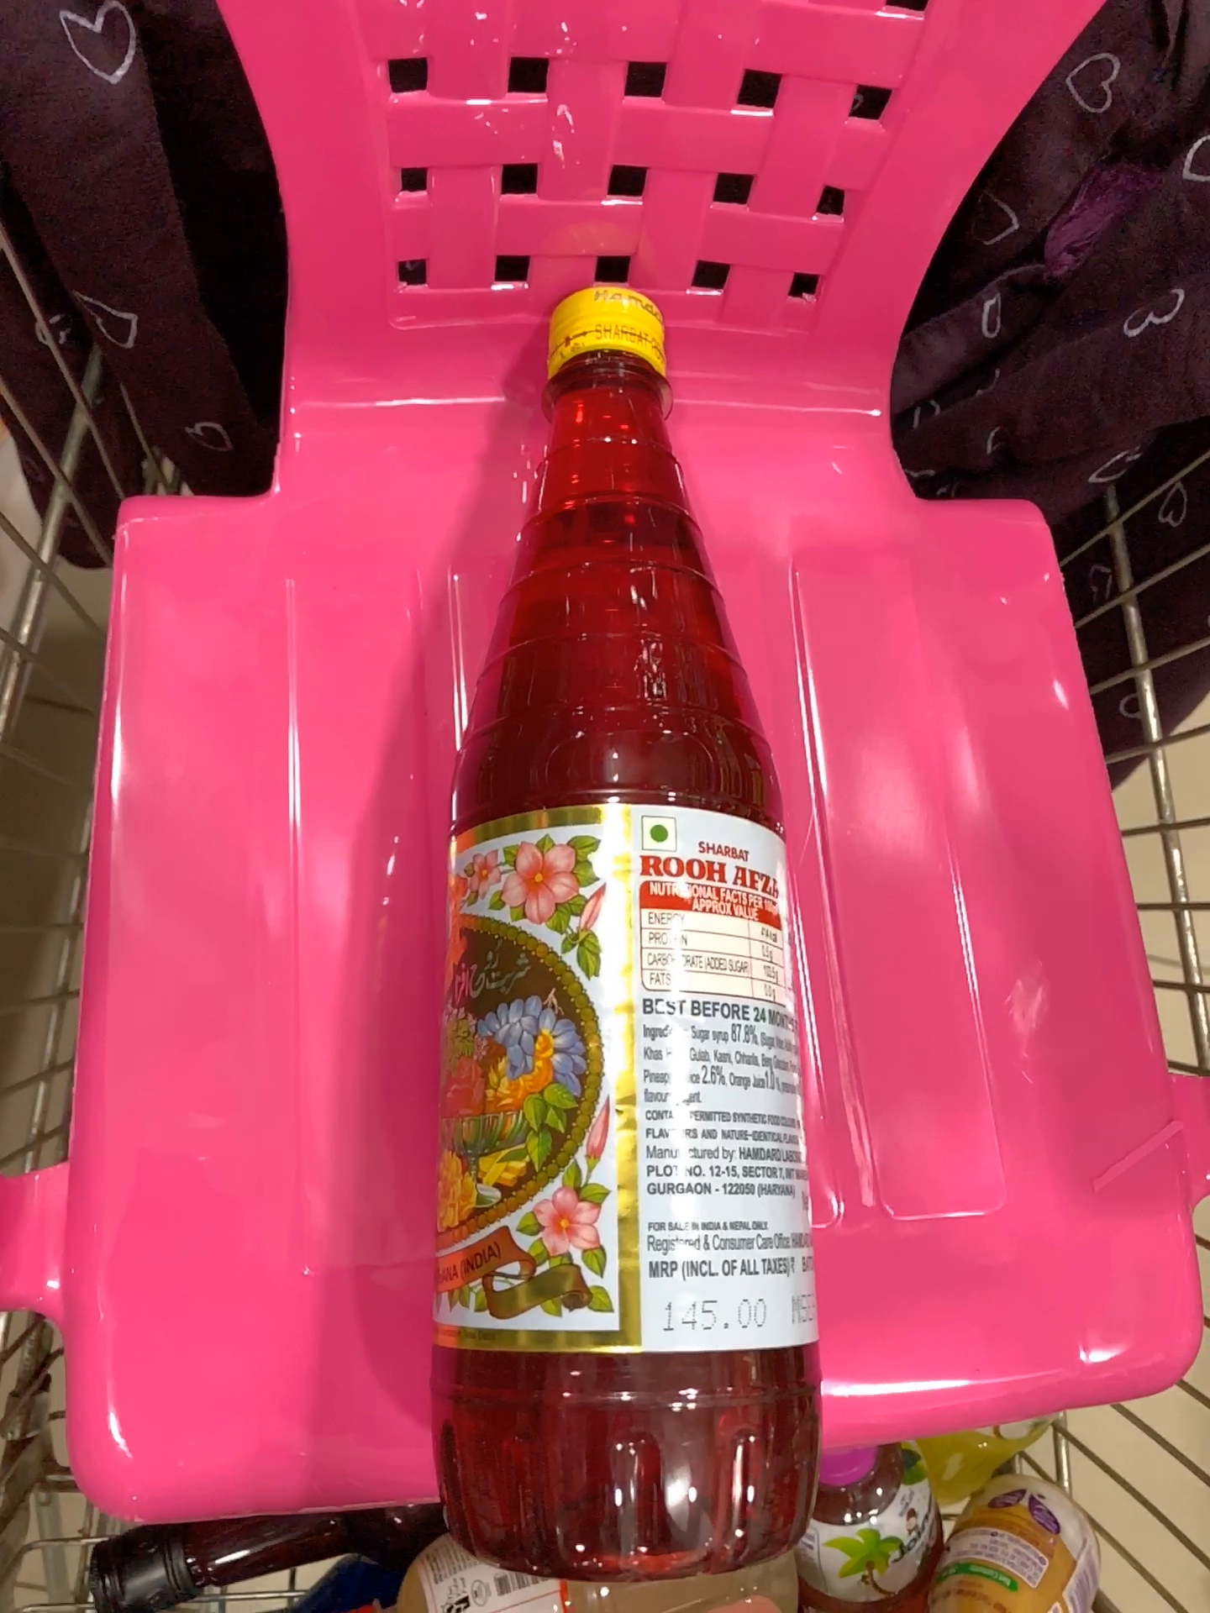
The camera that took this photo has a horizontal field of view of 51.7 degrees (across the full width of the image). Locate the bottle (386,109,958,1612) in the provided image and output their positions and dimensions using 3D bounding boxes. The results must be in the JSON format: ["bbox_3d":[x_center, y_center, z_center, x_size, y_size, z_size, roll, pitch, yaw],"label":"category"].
[{"bbox_3d":[0.010,0.009,0.244,0.080,0.060,0.260,6,76,-24],"label":"bottle"}]
